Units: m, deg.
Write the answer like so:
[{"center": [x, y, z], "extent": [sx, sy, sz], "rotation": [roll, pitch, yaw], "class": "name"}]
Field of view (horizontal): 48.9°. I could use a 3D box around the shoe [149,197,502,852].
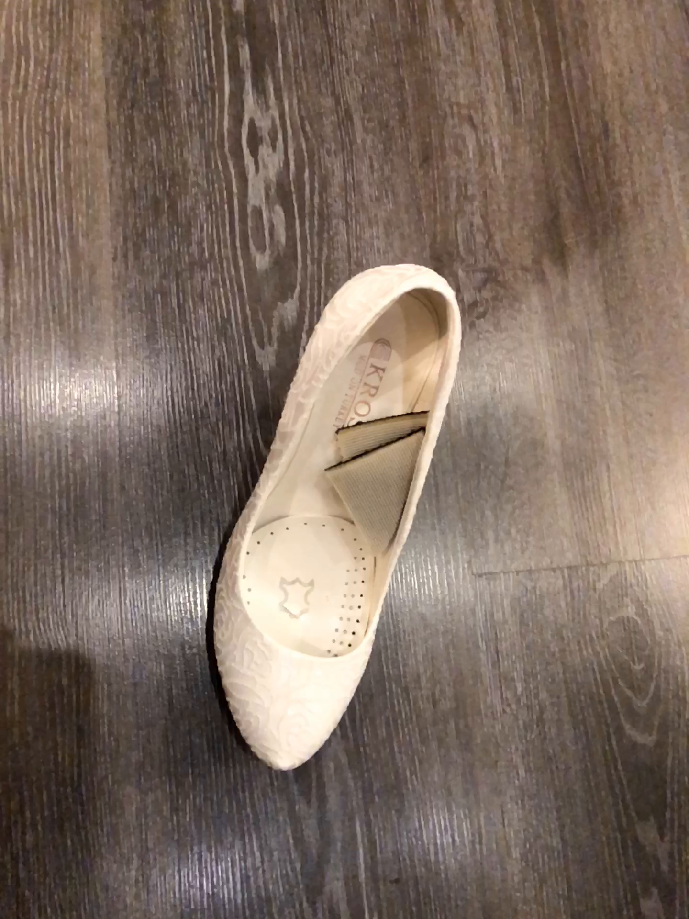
[{"center": [-0.016, 0.030, 0.328], "extent": [0.090, 0.150, 0.210], "rotation": [12, 75, -12], "class": "shoe"}]
